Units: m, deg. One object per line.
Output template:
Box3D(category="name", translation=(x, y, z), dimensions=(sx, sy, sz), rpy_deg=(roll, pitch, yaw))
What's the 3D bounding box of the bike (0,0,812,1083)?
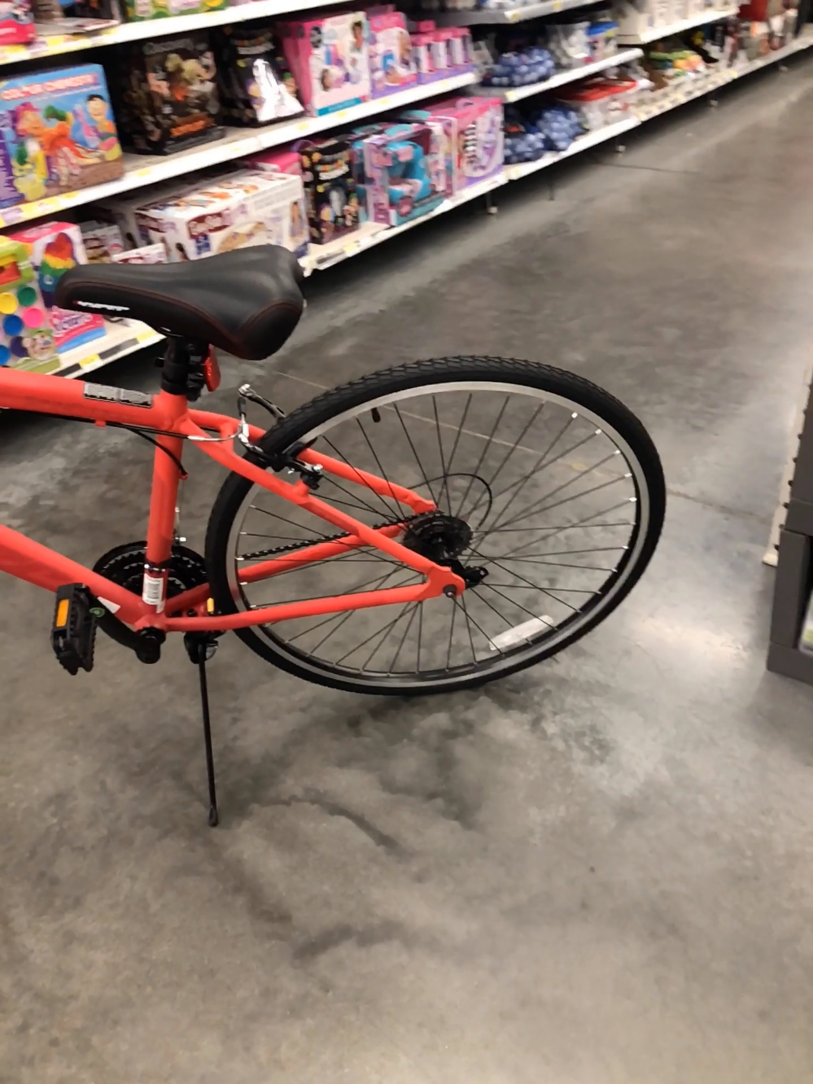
Box3D(category="bike", translation=(-0.474, 0.004, 1.131), dimensions=(1.686, 1.000, 0.617), rpy_deg=(-11, 36, -7))
